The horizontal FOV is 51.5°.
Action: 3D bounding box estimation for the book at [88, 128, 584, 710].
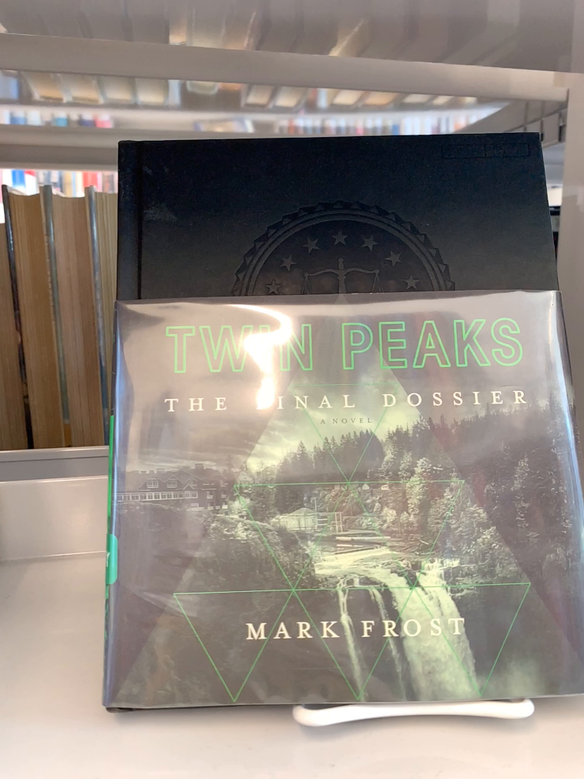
[{"bbox_3d":[0.018,0.004,0.249,0.190,0.228,0.020,-1,-9,-1],"label":"book"}]
